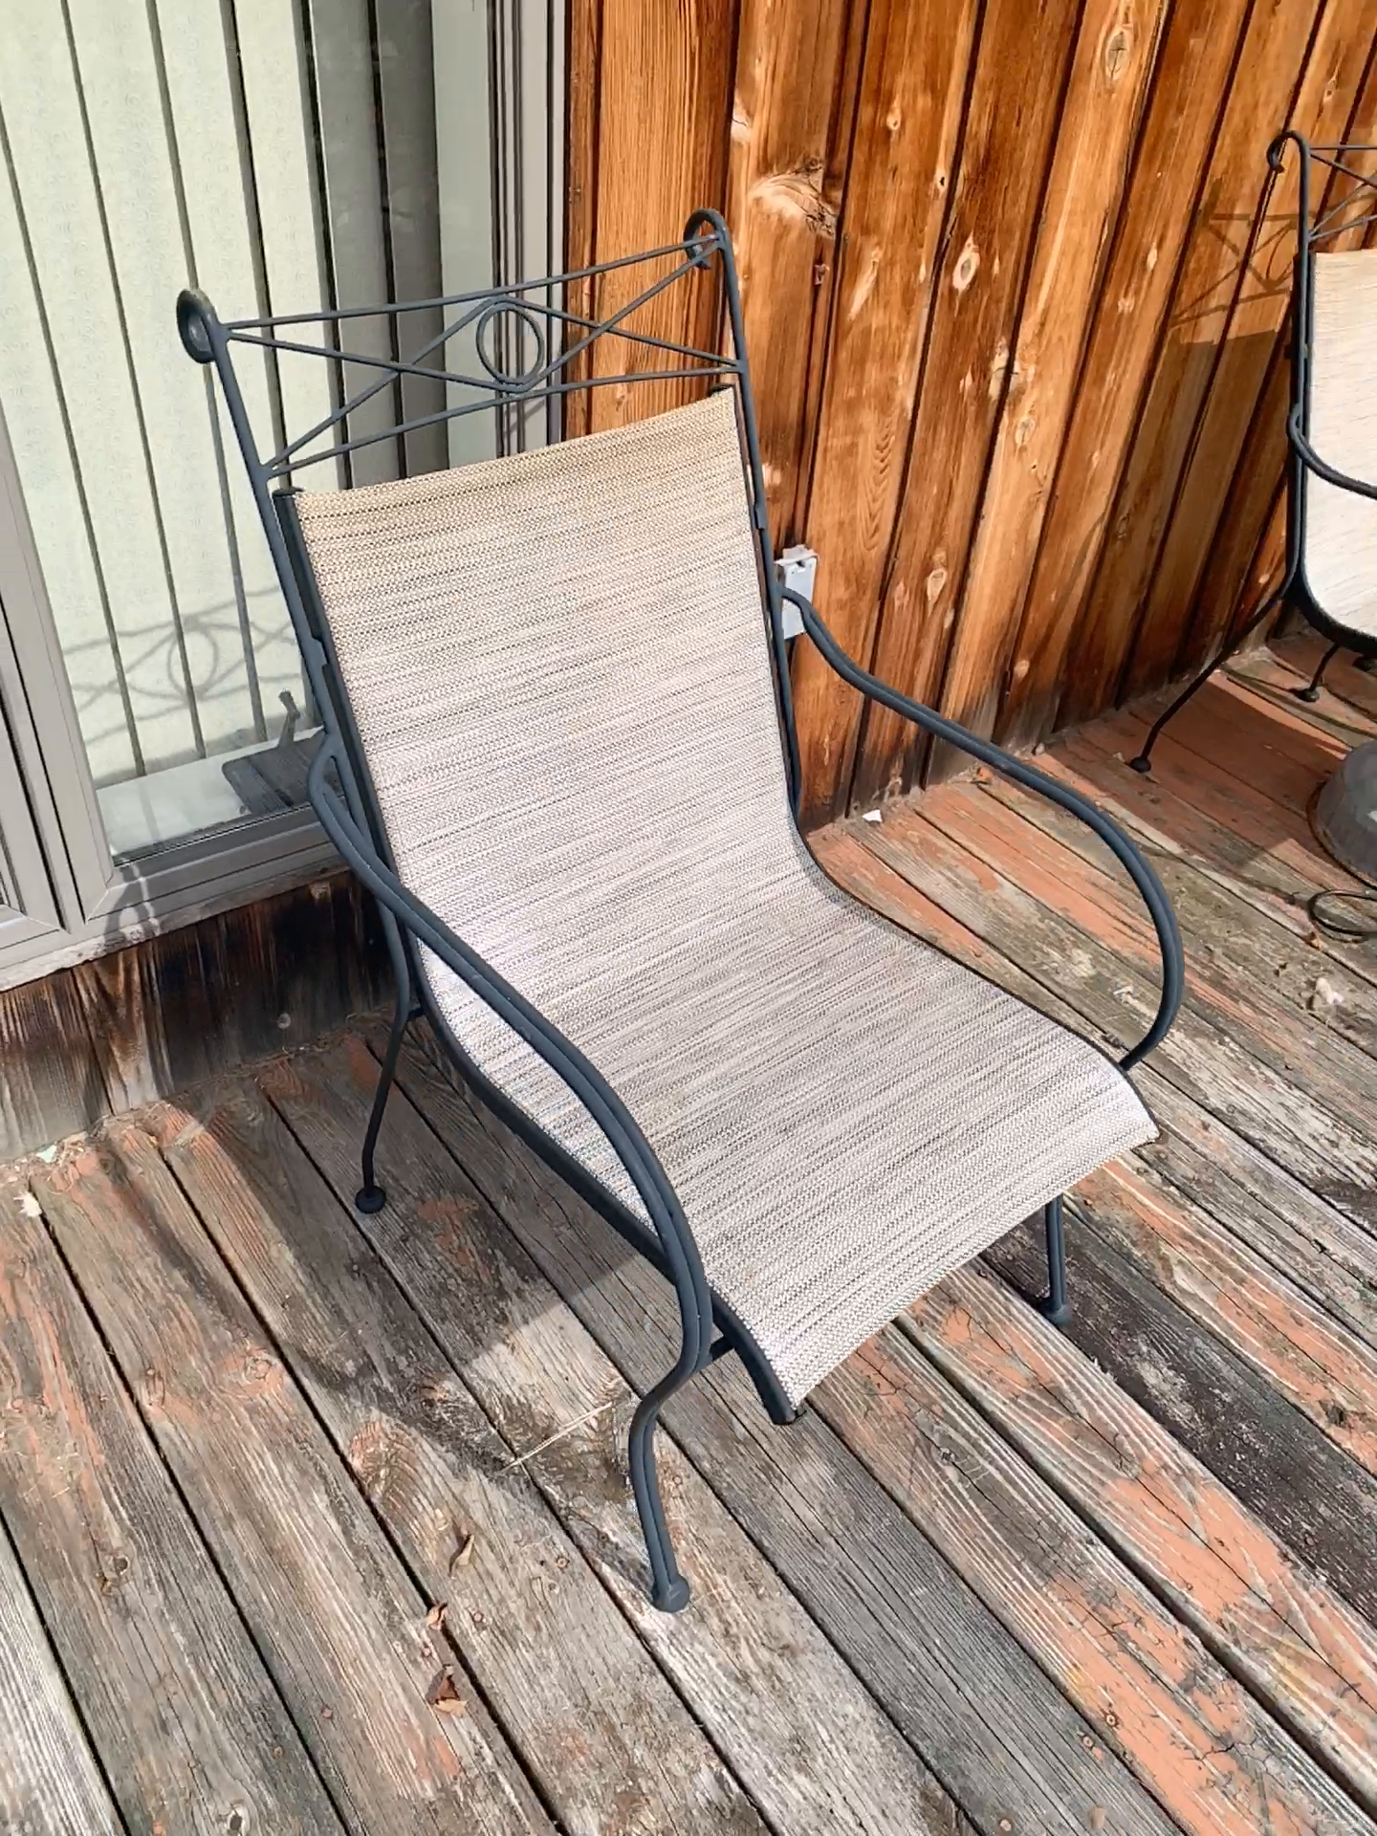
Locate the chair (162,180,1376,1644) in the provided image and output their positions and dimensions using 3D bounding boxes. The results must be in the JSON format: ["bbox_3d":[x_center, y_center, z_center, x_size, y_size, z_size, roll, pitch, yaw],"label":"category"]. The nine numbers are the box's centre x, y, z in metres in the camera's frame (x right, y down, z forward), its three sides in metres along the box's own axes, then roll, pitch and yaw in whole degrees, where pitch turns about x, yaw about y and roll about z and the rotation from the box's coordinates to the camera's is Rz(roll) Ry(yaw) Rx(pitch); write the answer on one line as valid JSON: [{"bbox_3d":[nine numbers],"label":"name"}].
[{"bbox_3d":[0.048,-0.032,1.243,0.611,0.945,0.652,-25,48,-32],"label":"chair"}]
